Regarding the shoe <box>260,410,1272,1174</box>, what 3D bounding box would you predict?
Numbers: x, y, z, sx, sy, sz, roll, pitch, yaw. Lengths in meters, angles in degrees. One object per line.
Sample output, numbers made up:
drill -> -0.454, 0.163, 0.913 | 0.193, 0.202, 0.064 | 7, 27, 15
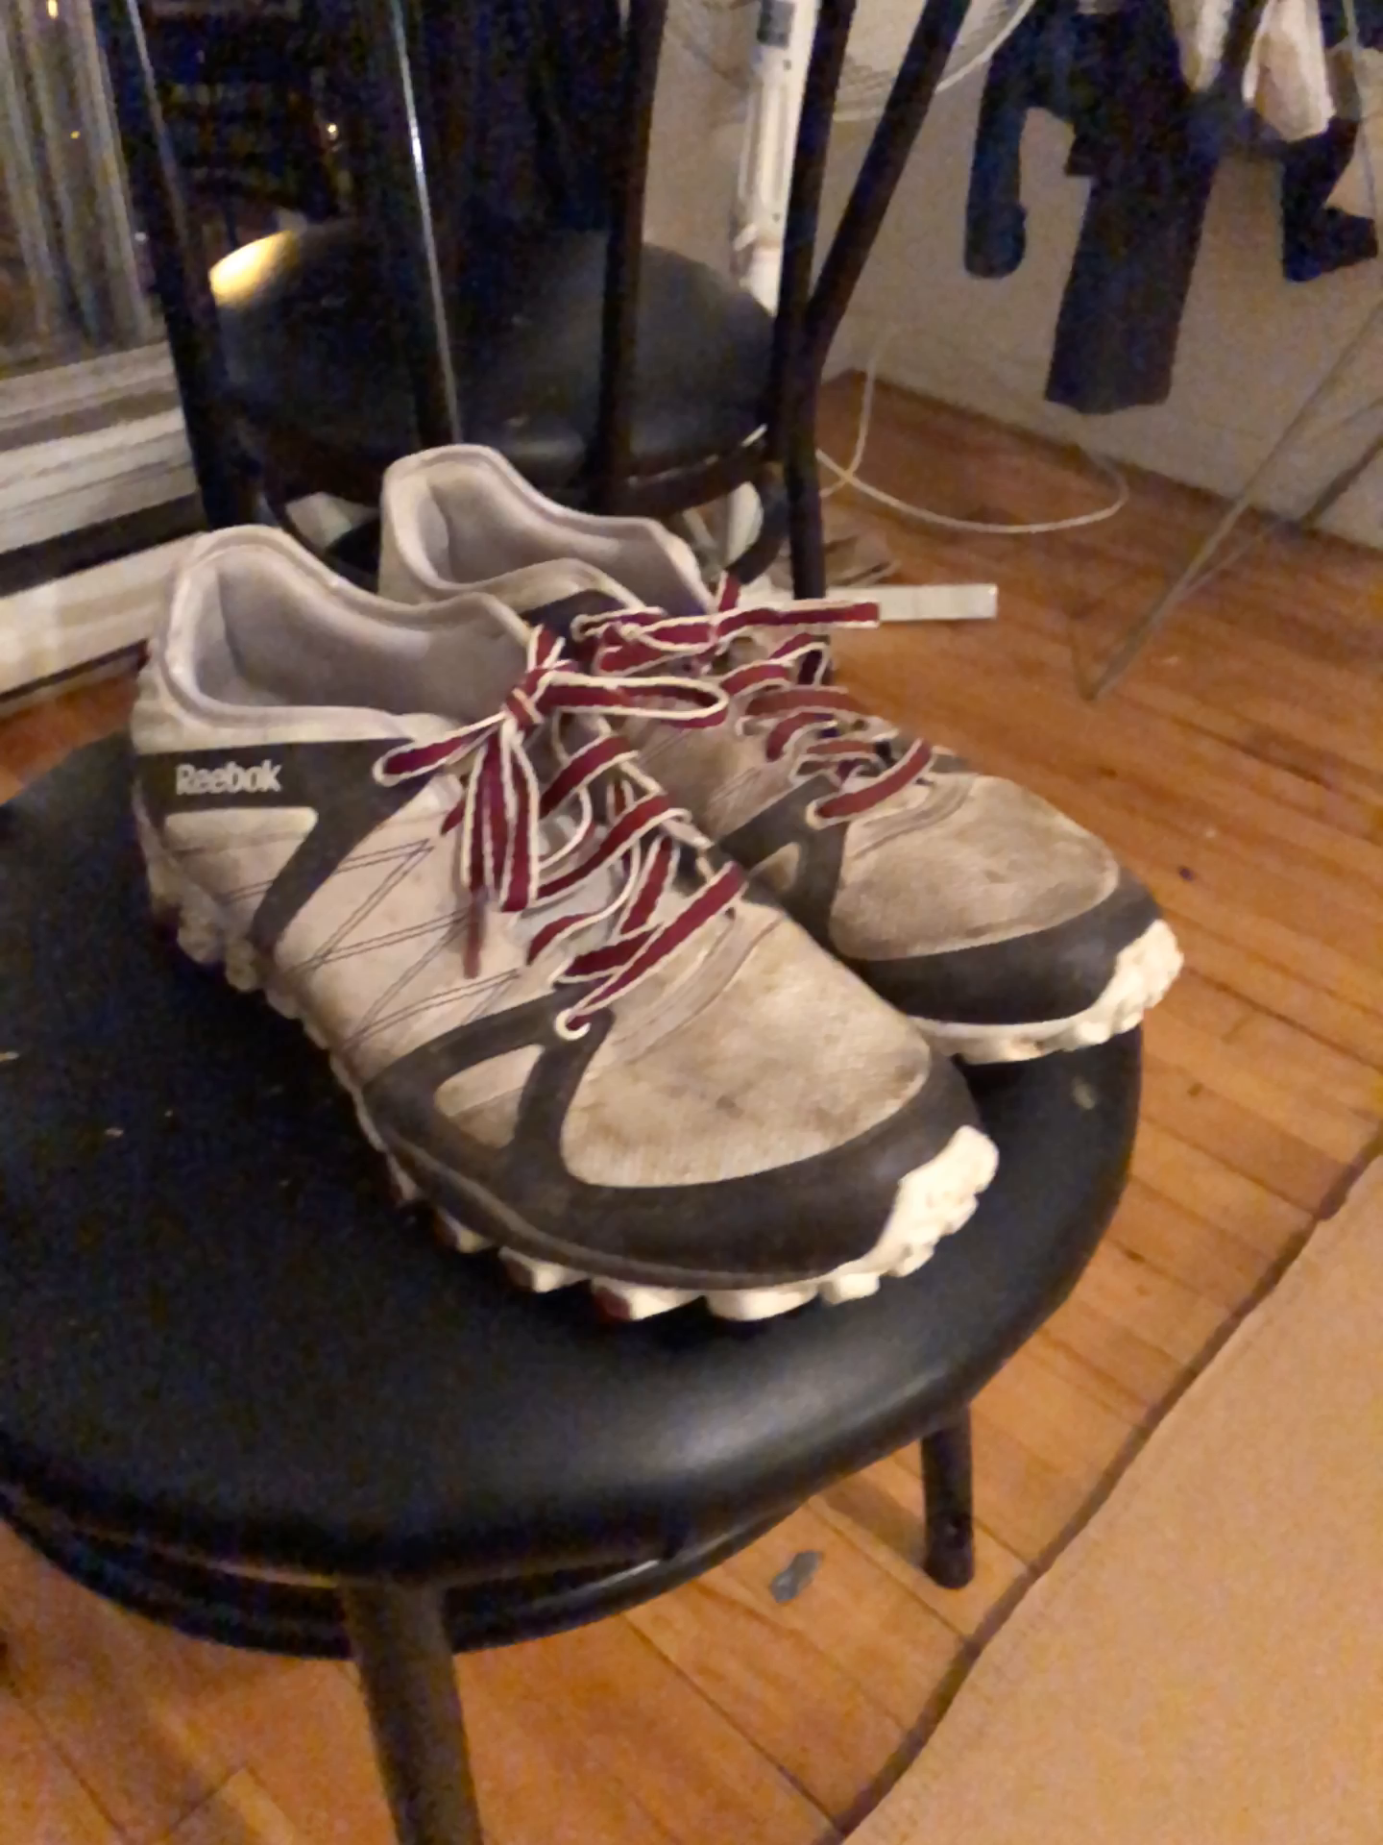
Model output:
shoe -> 0.007, -0.058, 0.458 | 0.281, 0.089, 0.111 | 30, 46, 30

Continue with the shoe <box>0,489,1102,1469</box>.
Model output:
shoe -> -0.054, -0.010, 0.379 | 0.271, 0.089, 0.111 | 30, 46, 30
